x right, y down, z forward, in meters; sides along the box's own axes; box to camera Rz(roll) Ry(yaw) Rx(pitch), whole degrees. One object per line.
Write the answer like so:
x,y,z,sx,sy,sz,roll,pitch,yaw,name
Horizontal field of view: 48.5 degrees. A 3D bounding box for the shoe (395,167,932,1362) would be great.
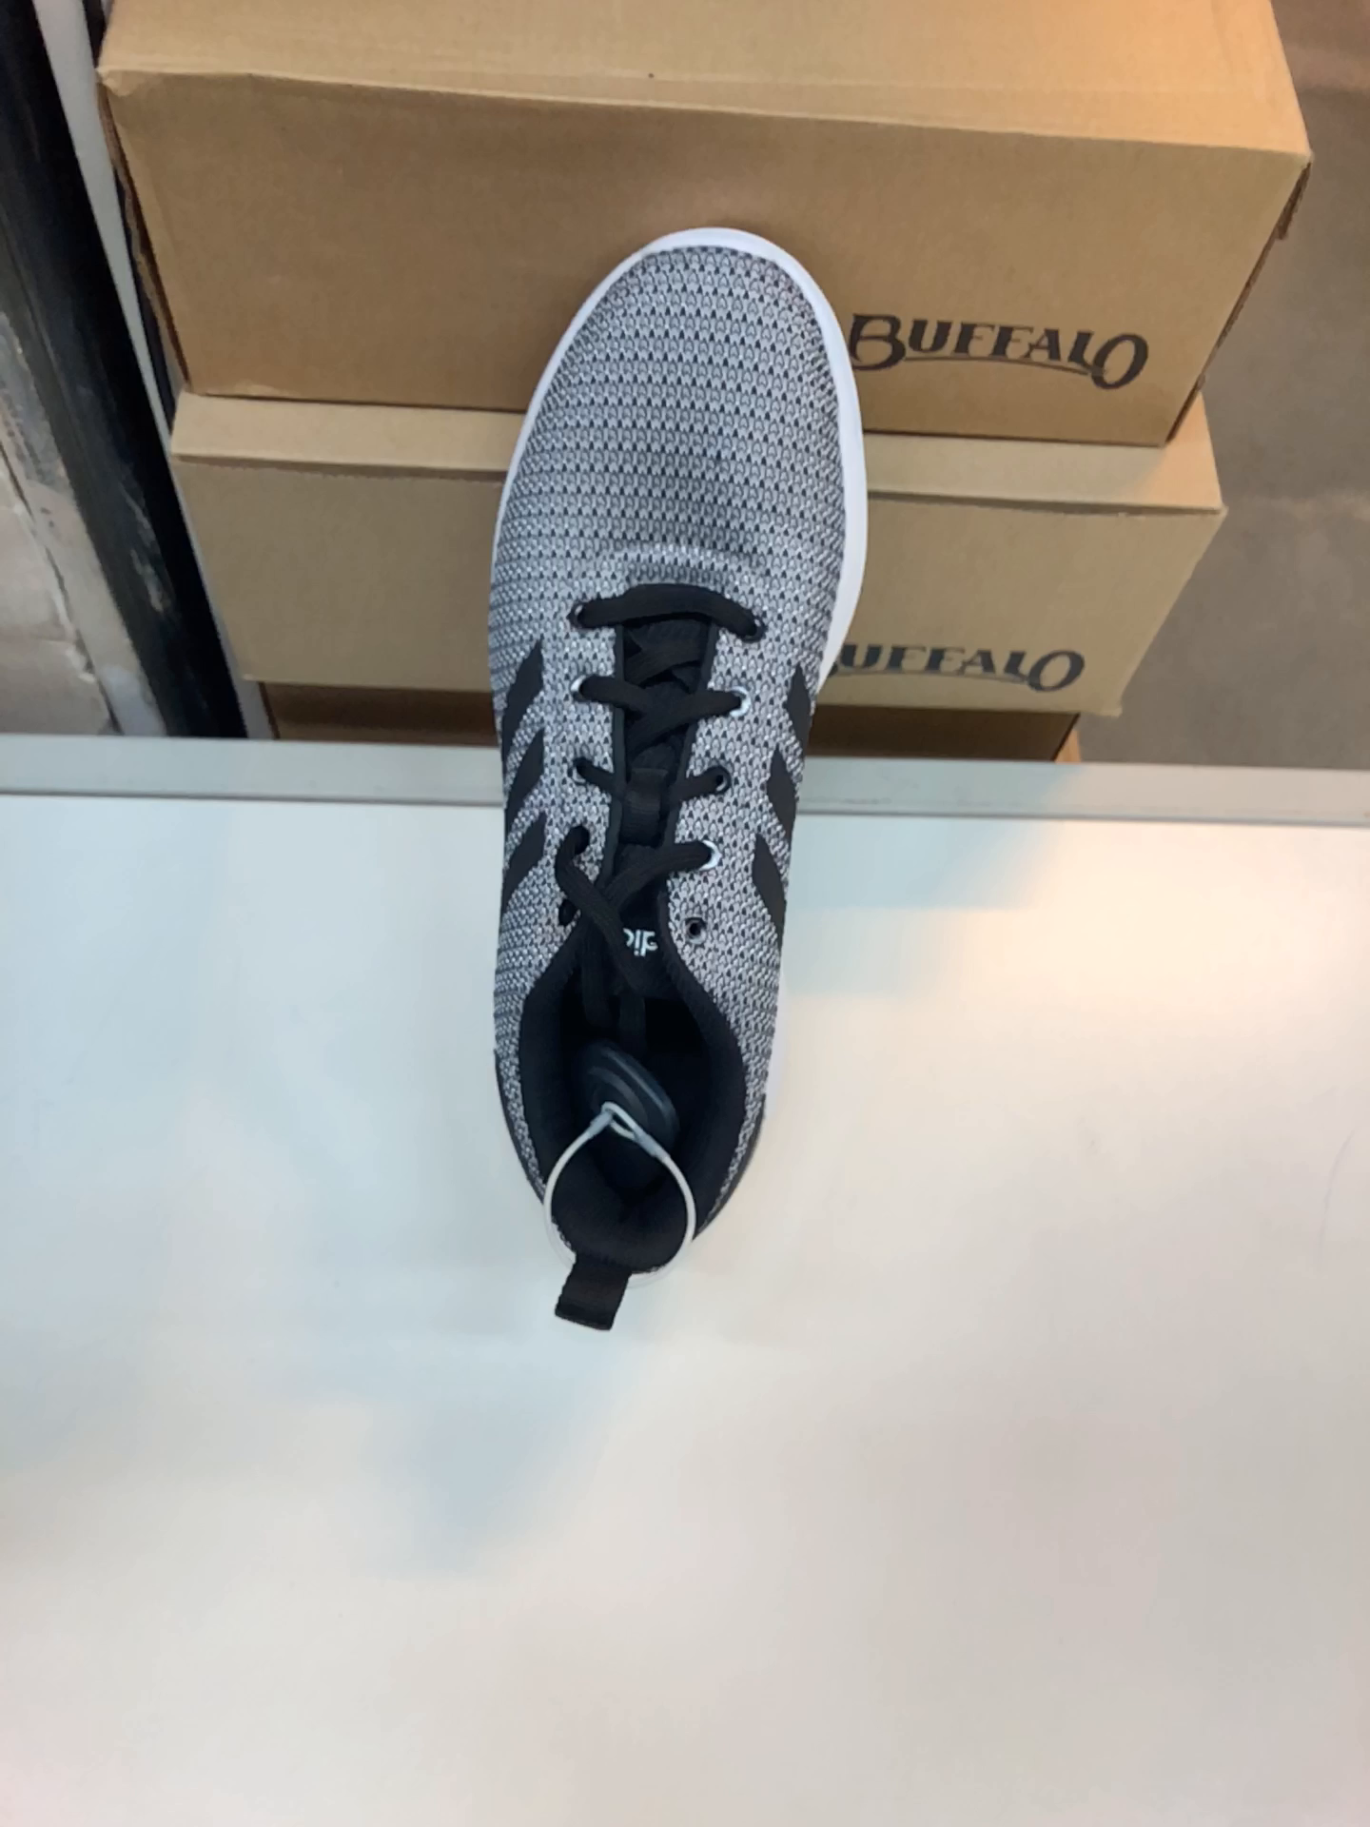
-0.007,-0.036,0.418,0.112,0.099,0.281,4,98,2,shoe
